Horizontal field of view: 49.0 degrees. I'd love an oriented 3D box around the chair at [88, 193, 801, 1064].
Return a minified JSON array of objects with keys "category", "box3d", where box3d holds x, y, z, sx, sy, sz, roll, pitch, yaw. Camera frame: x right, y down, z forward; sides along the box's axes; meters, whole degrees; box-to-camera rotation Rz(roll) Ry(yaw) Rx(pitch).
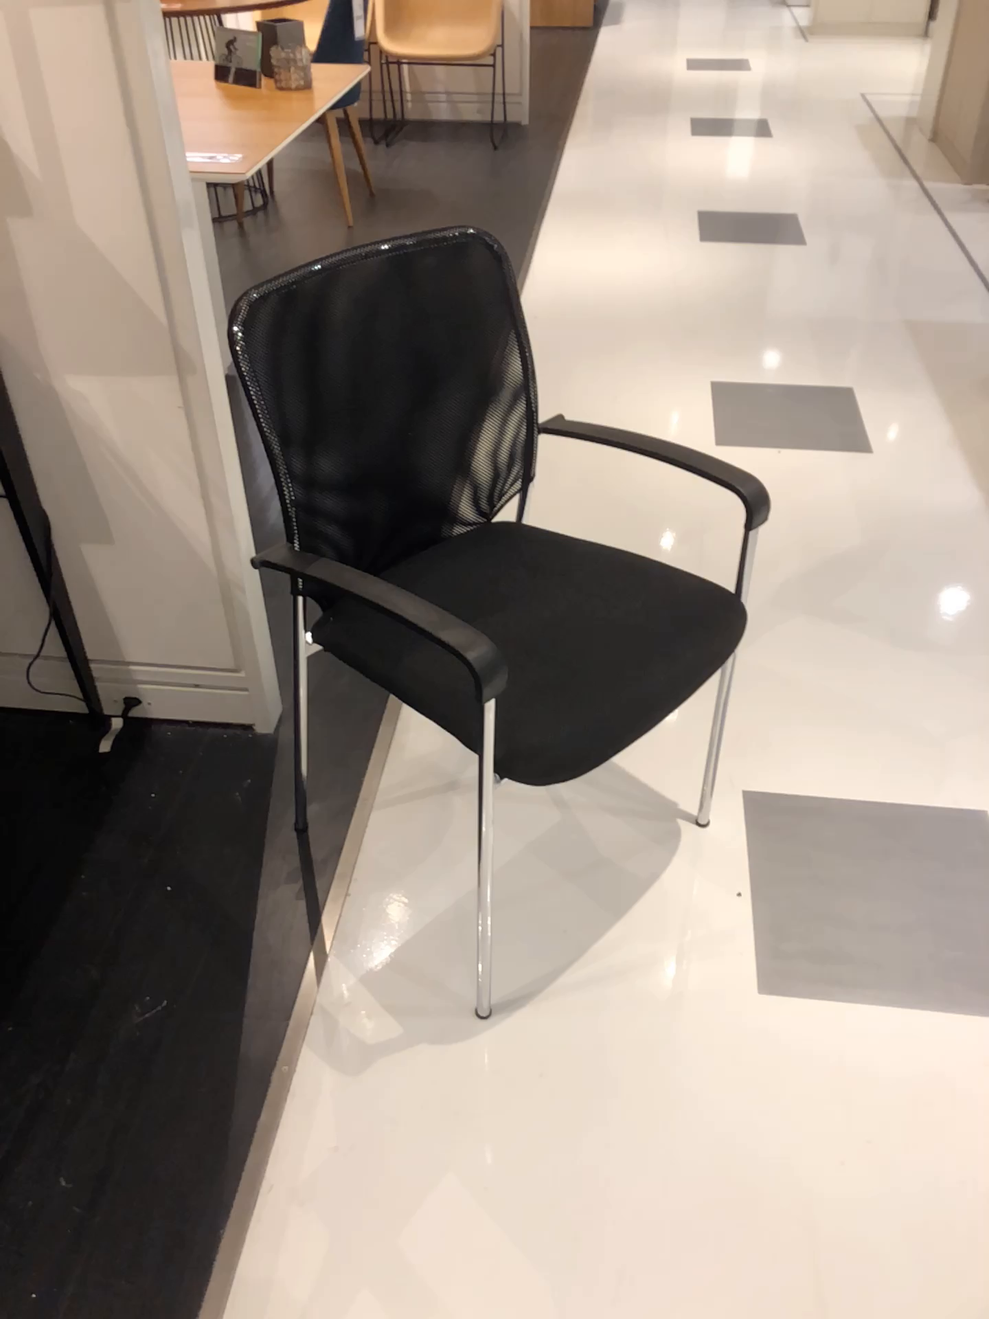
[{"category":"chair","box3d":[-0.041,-0.060,1.449,0.512,0.863,0.593,30,47,34]}]
